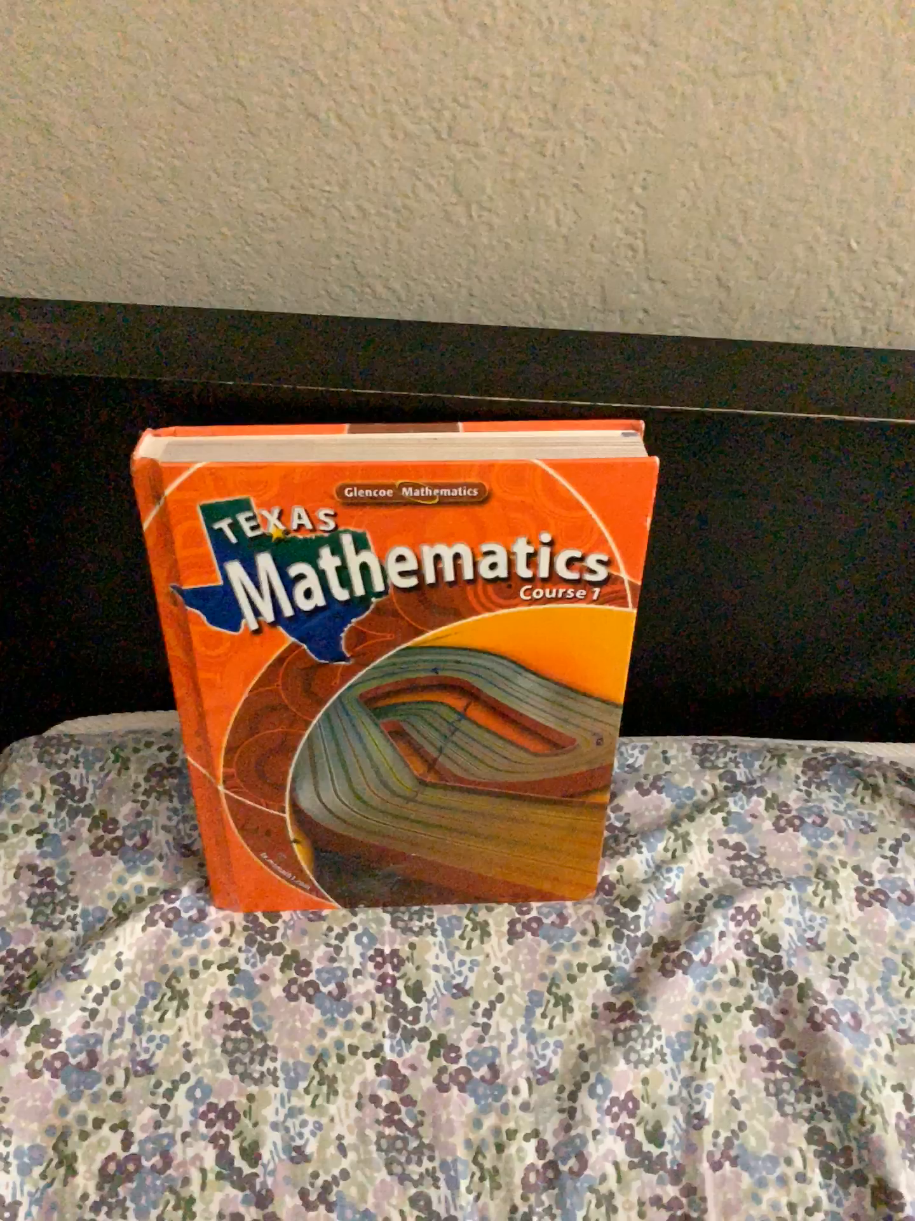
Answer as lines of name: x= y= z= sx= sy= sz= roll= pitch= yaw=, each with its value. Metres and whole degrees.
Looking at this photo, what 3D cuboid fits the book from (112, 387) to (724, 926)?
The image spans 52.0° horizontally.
book: x=-0.019 y=0.040 z=0.464 sx=0.230 sy=0.299 sz=0.050 roll=-2 pitch=38 yaw=-6
